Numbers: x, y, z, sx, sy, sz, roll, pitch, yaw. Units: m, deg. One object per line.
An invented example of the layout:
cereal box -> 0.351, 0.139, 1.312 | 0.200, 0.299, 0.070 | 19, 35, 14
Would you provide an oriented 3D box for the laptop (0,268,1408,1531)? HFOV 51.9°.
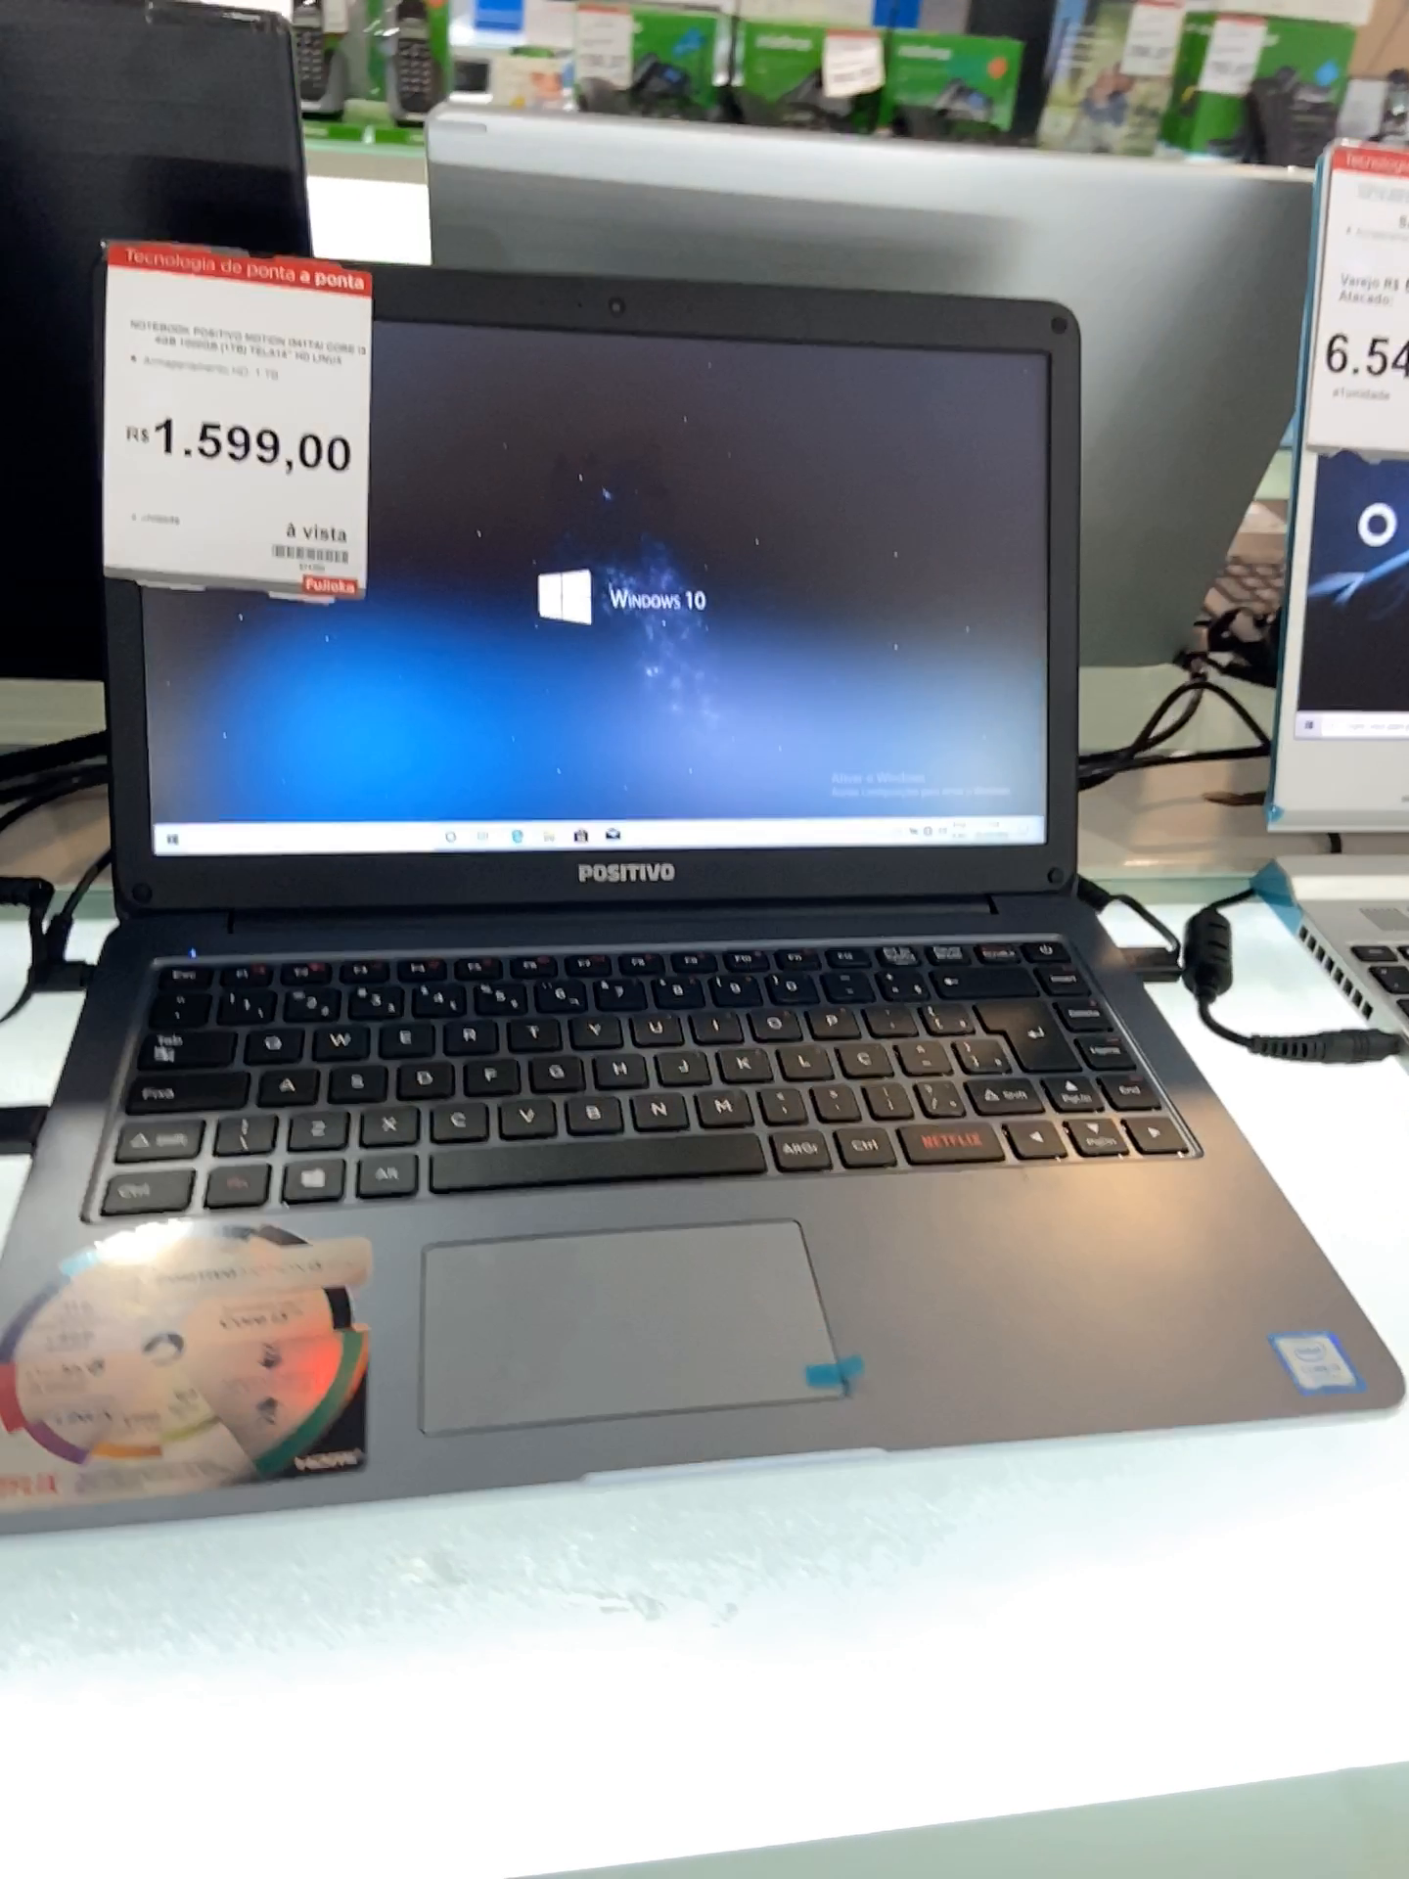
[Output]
laptop -> -0.011, -0.051, 0.394 | 0.319, 0.171, 0.325 | -1, 34, -10
